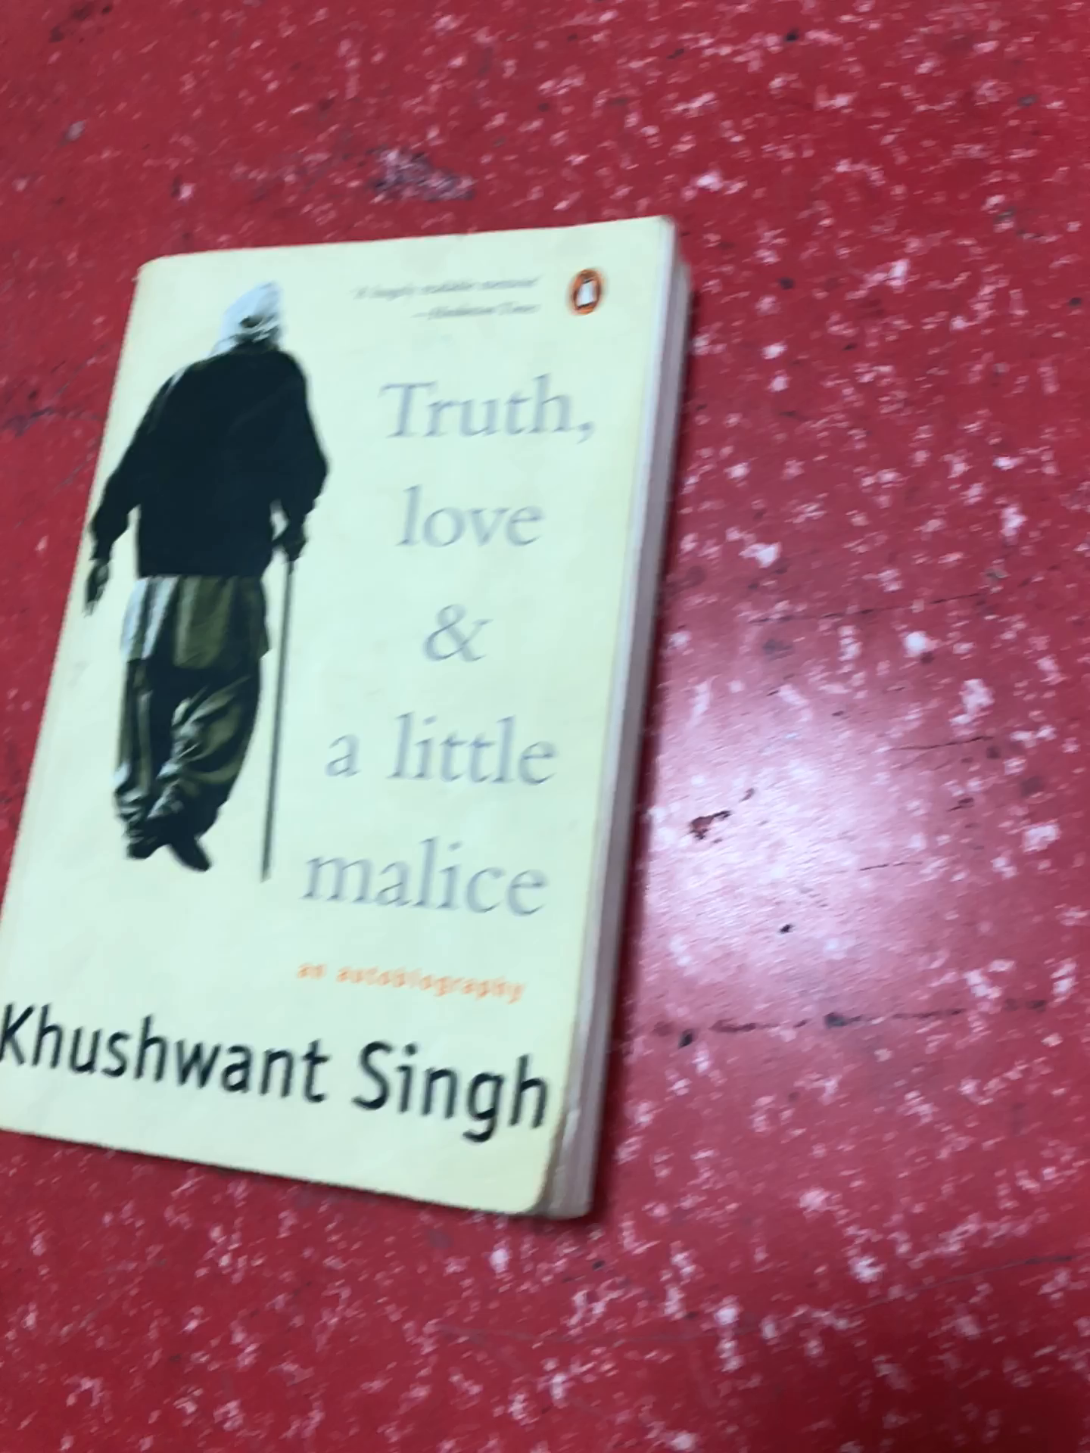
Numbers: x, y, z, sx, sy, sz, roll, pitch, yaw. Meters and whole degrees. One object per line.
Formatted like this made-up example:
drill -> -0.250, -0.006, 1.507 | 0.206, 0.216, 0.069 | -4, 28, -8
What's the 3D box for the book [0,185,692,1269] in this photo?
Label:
book -> -0.050, -0.009, 0.268 | 0.140, 0.040, 0.210 | 2, 76, 18
